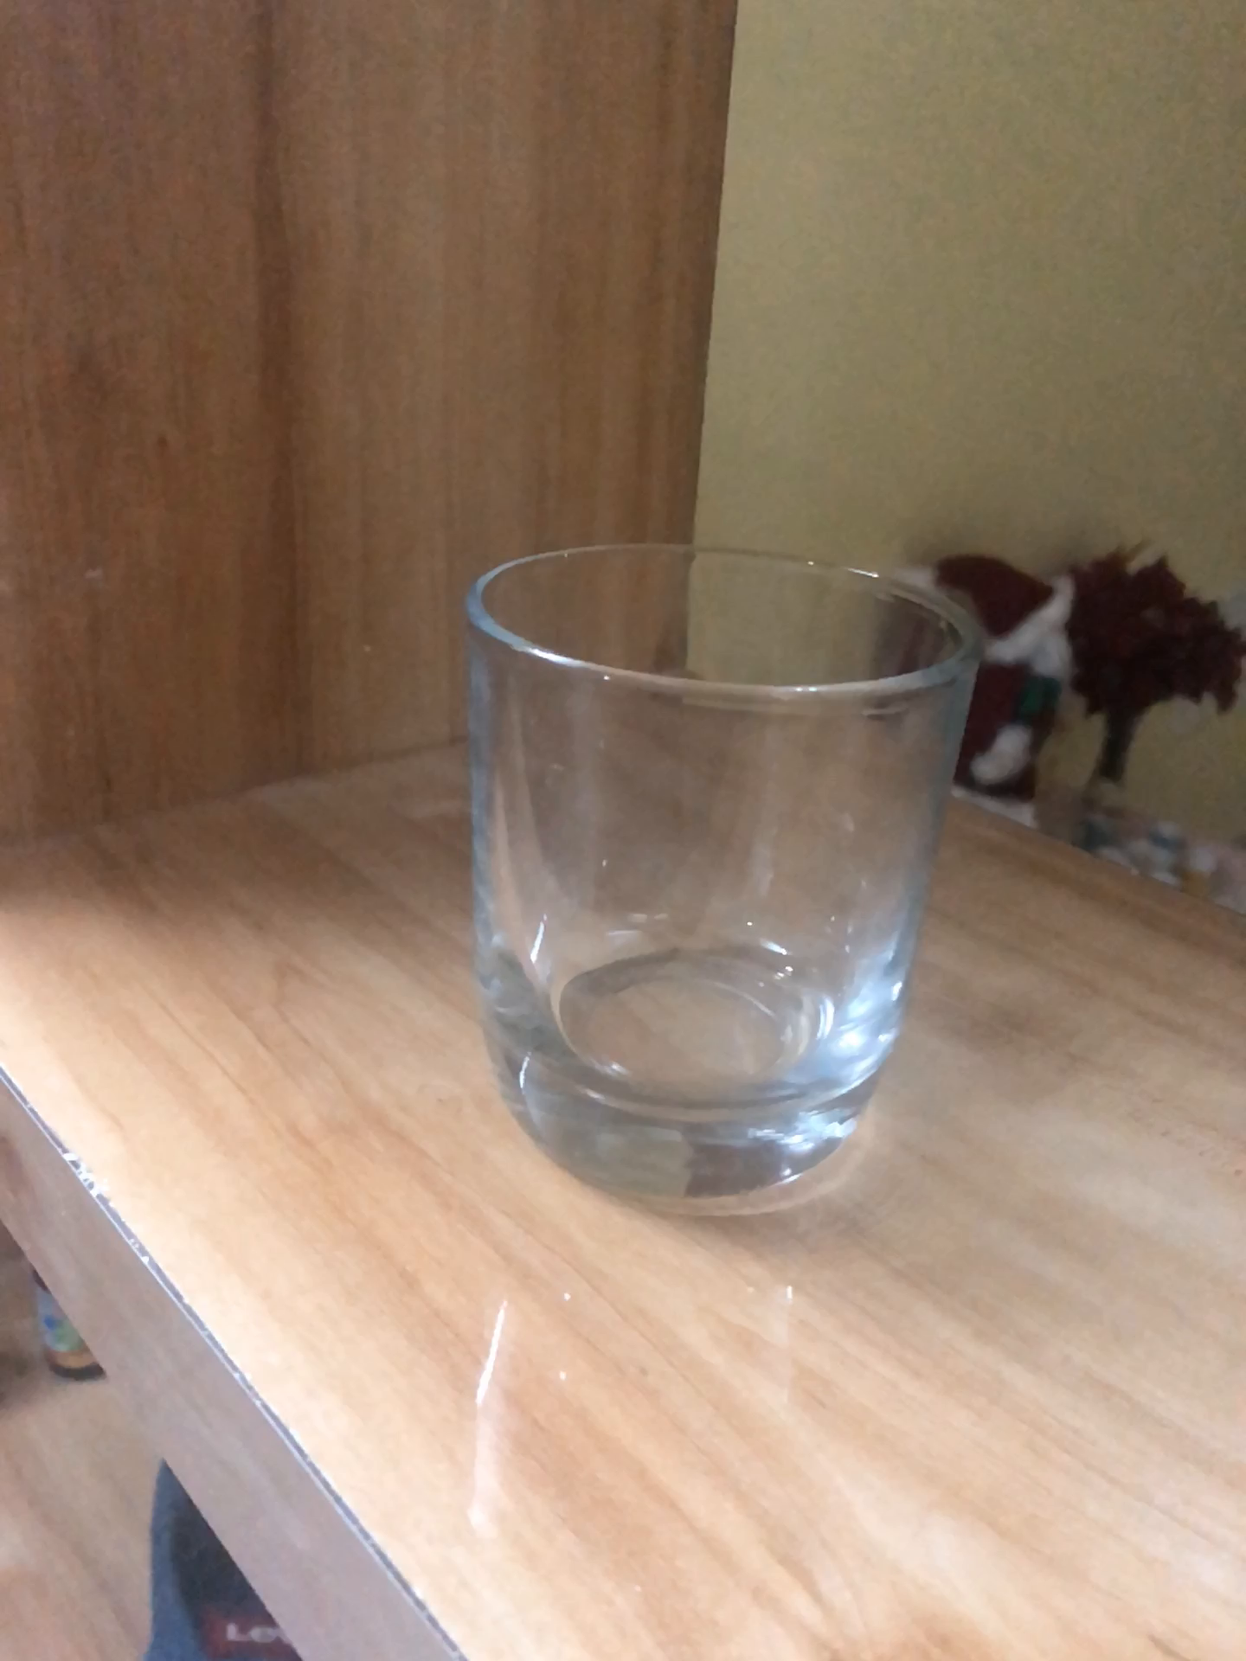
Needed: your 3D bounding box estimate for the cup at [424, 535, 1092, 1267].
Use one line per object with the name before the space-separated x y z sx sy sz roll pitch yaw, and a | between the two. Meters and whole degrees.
cup | 0.013 0.004 0.243 0.080 0.090 0.090 -4 25 -16
